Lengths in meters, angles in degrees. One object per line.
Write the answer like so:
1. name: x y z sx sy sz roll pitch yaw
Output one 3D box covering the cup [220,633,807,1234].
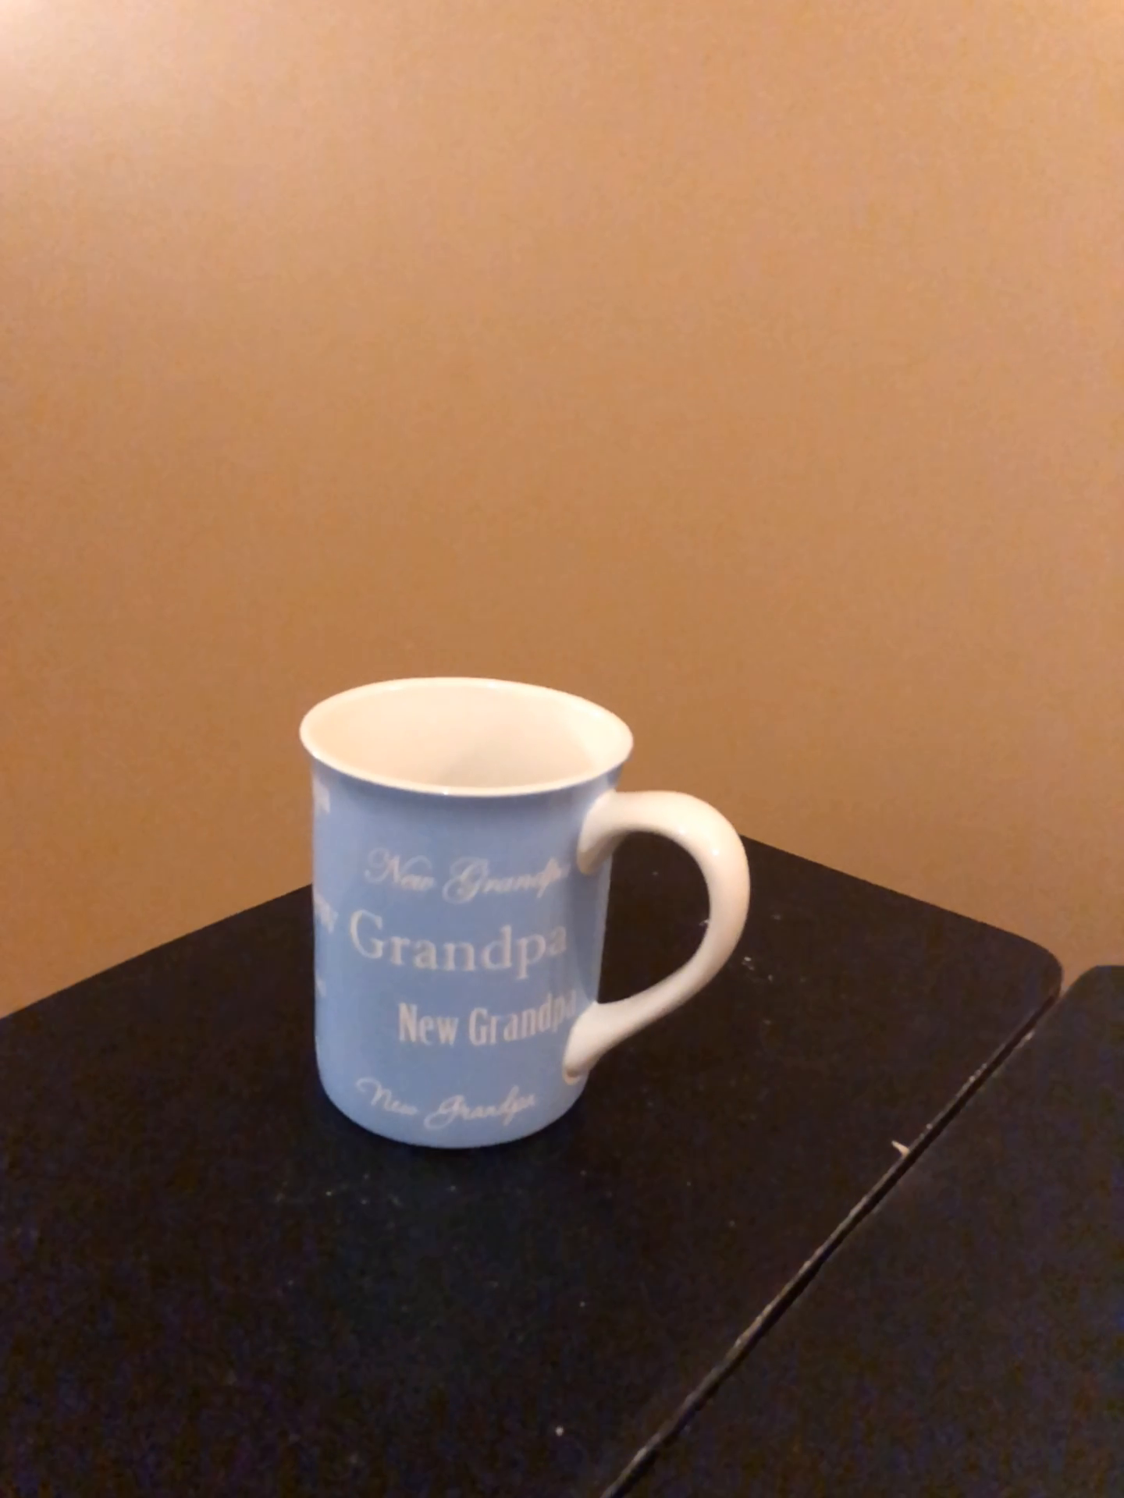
1. cup: -0.011 0.041 0.351 0.130 0.110 0.100 11 21 16
